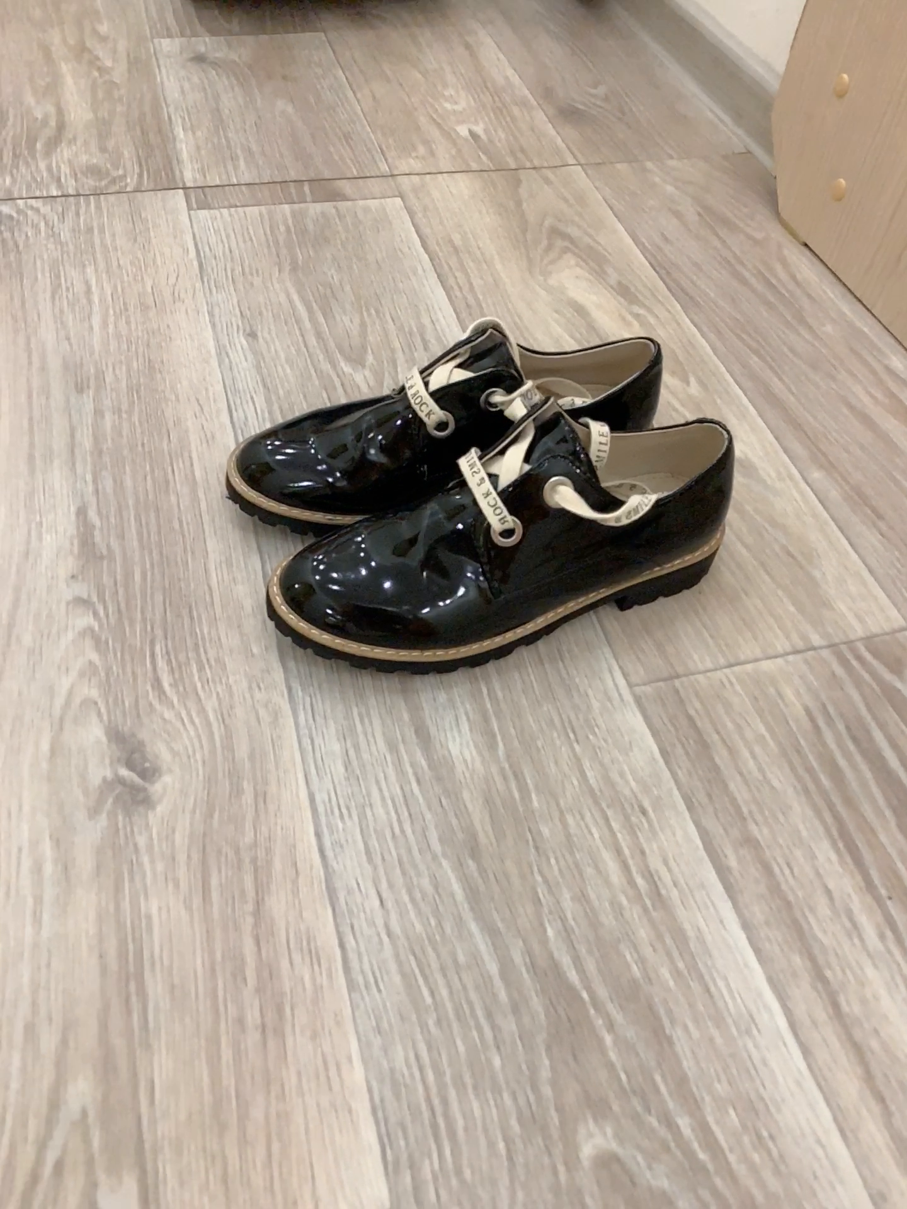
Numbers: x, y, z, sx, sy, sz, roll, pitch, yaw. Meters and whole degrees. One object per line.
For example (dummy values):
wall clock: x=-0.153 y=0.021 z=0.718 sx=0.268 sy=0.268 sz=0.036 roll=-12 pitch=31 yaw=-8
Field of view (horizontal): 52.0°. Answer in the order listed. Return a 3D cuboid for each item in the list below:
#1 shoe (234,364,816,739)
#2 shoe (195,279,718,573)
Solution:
shoe: x=0.034 y=-0.034 z=0.494 sx=0.270 sy=0.100 sz=0.100 roll=-15 pitch=54 yaw=-17
shoe: x=-0.002 y=-0.108 z=0.546 sx=0.270 sy=0.100 sz=0.100 roll=-9 pitch=53 yaw=-13
